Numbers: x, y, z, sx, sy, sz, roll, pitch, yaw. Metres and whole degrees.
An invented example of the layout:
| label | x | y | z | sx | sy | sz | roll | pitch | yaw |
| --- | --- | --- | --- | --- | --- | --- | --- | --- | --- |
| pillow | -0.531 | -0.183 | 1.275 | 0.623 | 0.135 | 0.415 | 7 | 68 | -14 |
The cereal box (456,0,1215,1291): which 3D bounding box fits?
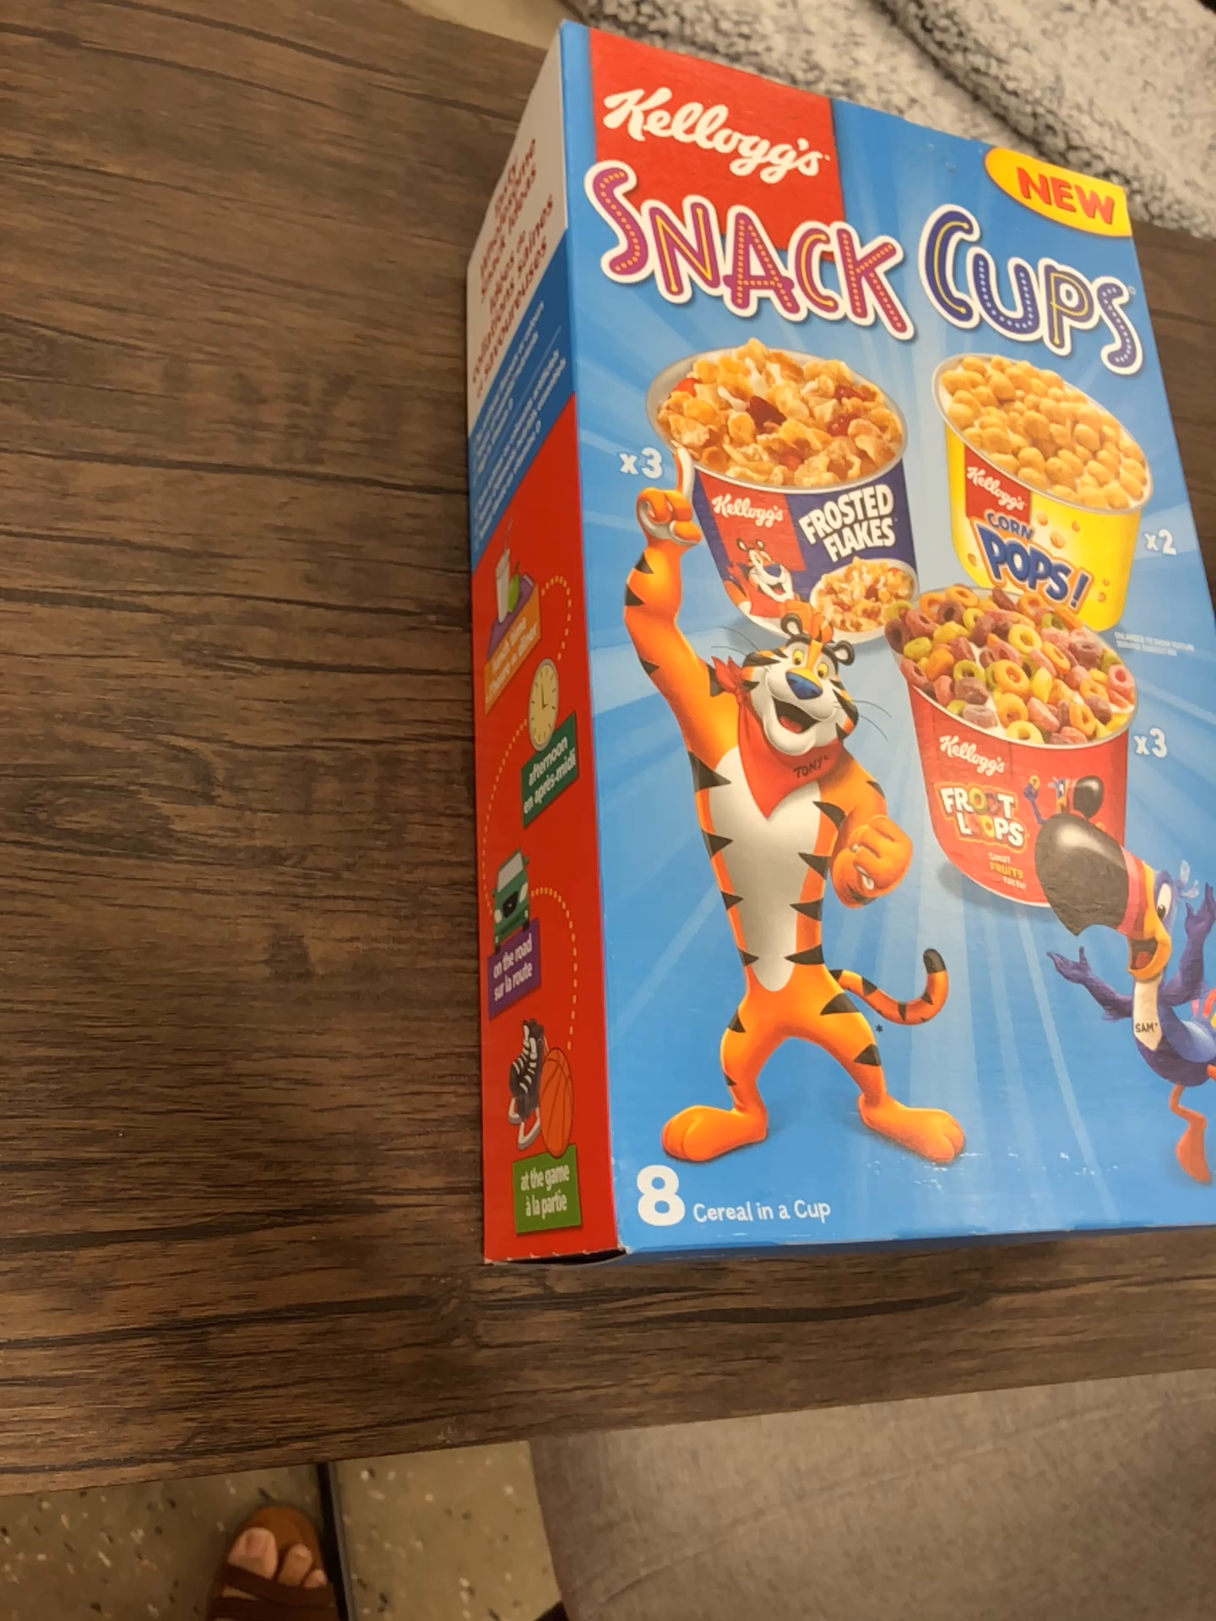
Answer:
| label | x | y | z | sx | sy | sz | roll | pitch | yaw |
| --- | --- | --- | --- | --- | --- | --- | --- | --- | --- |
| cereal box | 0.077 | -0.041 | 0.397 | 0.220 | 0.100 | 0.330 | 4 | 71 | -21 |
